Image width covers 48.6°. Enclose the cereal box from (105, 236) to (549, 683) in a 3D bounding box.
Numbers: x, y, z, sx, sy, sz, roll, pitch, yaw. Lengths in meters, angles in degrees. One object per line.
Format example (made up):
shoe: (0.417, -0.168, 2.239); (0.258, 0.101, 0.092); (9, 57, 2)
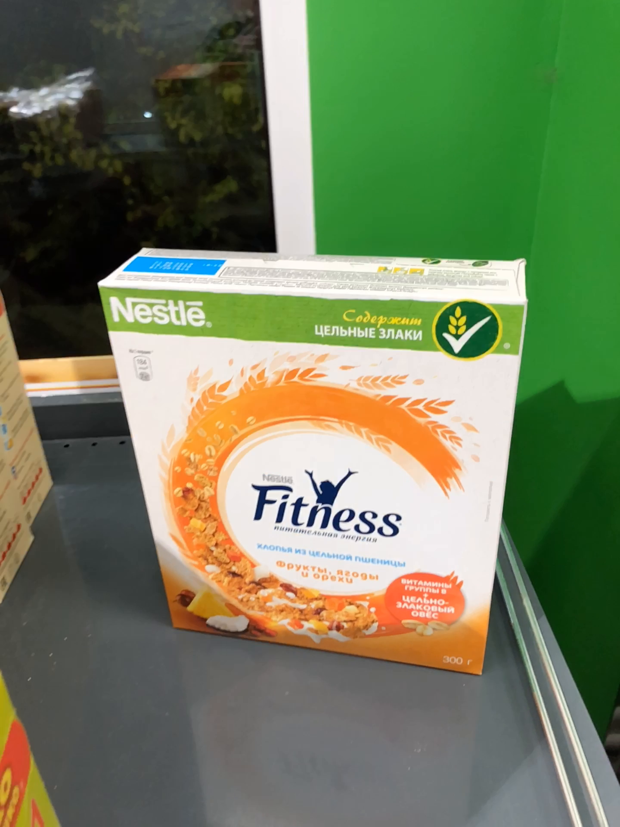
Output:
cereal box: (0.012, 0.030, 0.387); (0.200, 0.239, 0.060); (5, 31, 13)
